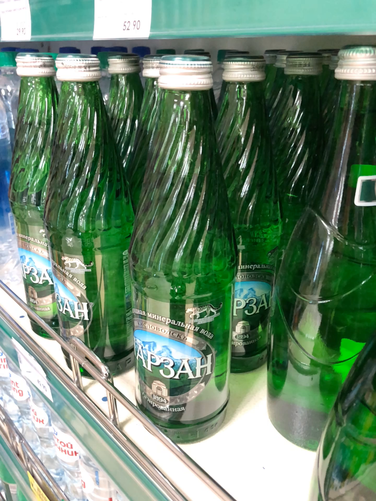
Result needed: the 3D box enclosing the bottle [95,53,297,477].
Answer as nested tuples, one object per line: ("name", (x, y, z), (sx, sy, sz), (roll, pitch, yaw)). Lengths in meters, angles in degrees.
("bottle", (0.002, 0.012, 0.256), (0.080, 0.240, 0.060), (22, 32, 39))
